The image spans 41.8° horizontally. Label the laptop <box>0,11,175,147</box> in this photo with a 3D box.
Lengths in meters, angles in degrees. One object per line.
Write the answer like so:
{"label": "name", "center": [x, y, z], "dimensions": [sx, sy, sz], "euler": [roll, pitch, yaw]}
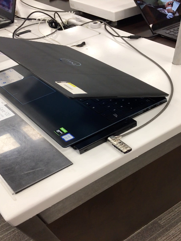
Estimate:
{"label": "laptop", "center": [-0.068, -0.125, 0.549], "dimensions": [0.250, 0.116, 0.367], "euler": [-32, 50, -22]}
